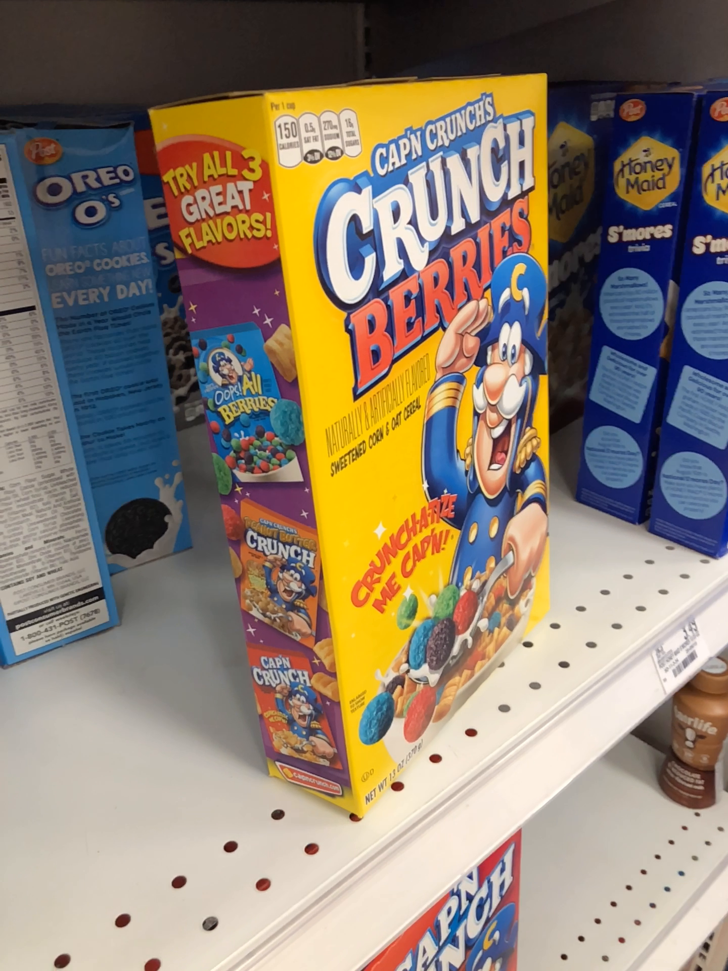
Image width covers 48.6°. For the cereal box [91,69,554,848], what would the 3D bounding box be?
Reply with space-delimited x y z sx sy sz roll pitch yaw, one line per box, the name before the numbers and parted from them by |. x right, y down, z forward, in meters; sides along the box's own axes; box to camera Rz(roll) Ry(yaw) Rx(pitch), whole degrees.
cereal box | 0.013 -0.022 0.369 0.060 0.289 0.200 12 30 37
